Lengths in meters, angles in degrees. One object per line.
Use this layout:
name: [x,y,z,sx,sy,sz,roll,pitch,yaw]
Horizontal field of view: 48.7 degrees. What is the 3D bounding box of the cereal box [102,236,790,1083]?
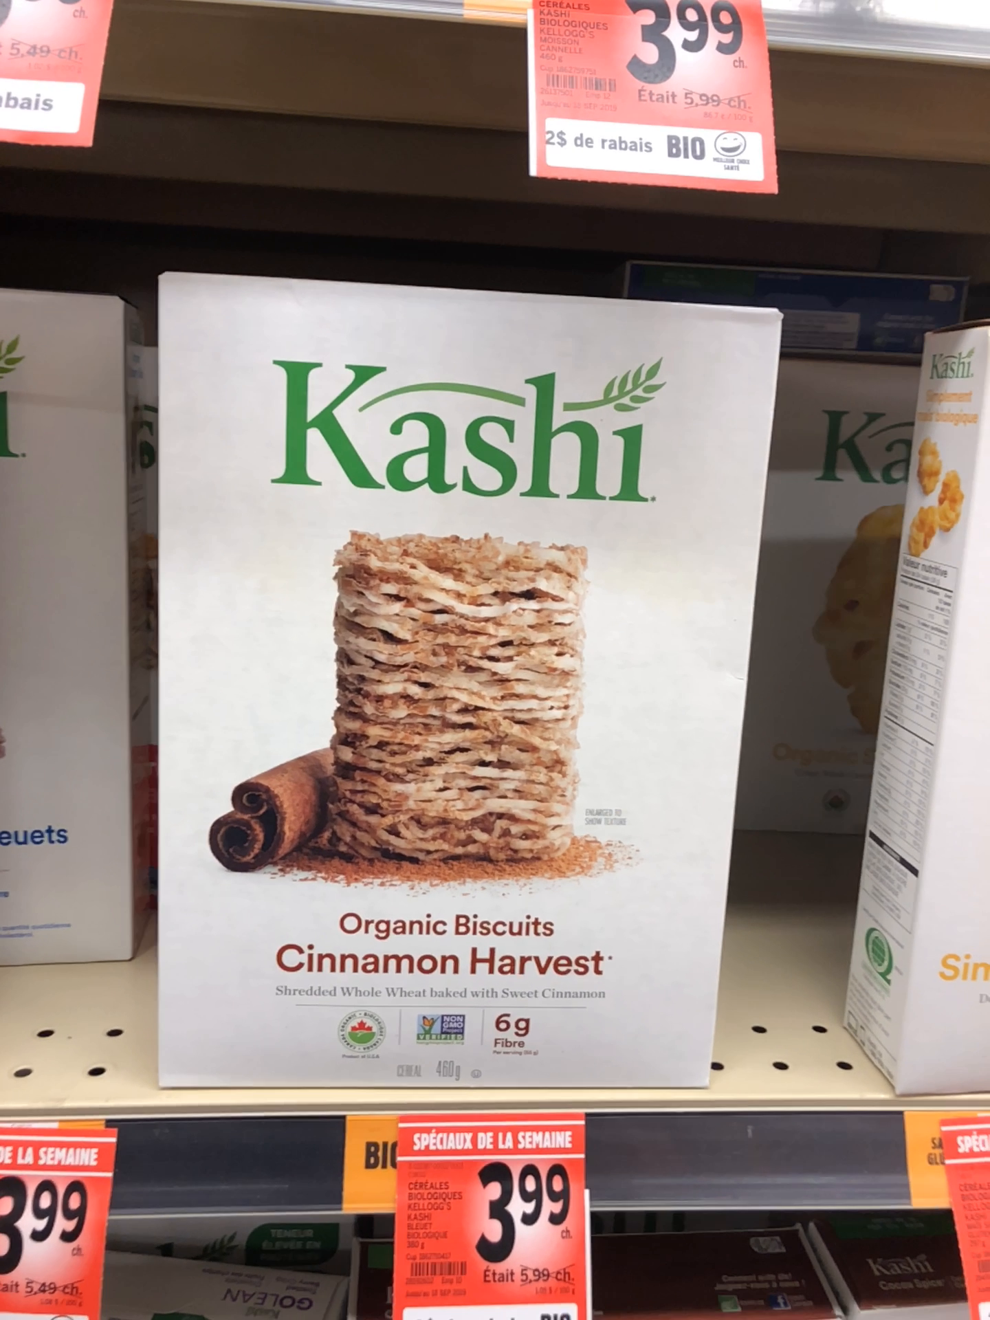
cereal box: [-0.020,0.005,0.381,0.200,0.269,0.070,2,13,-4]
